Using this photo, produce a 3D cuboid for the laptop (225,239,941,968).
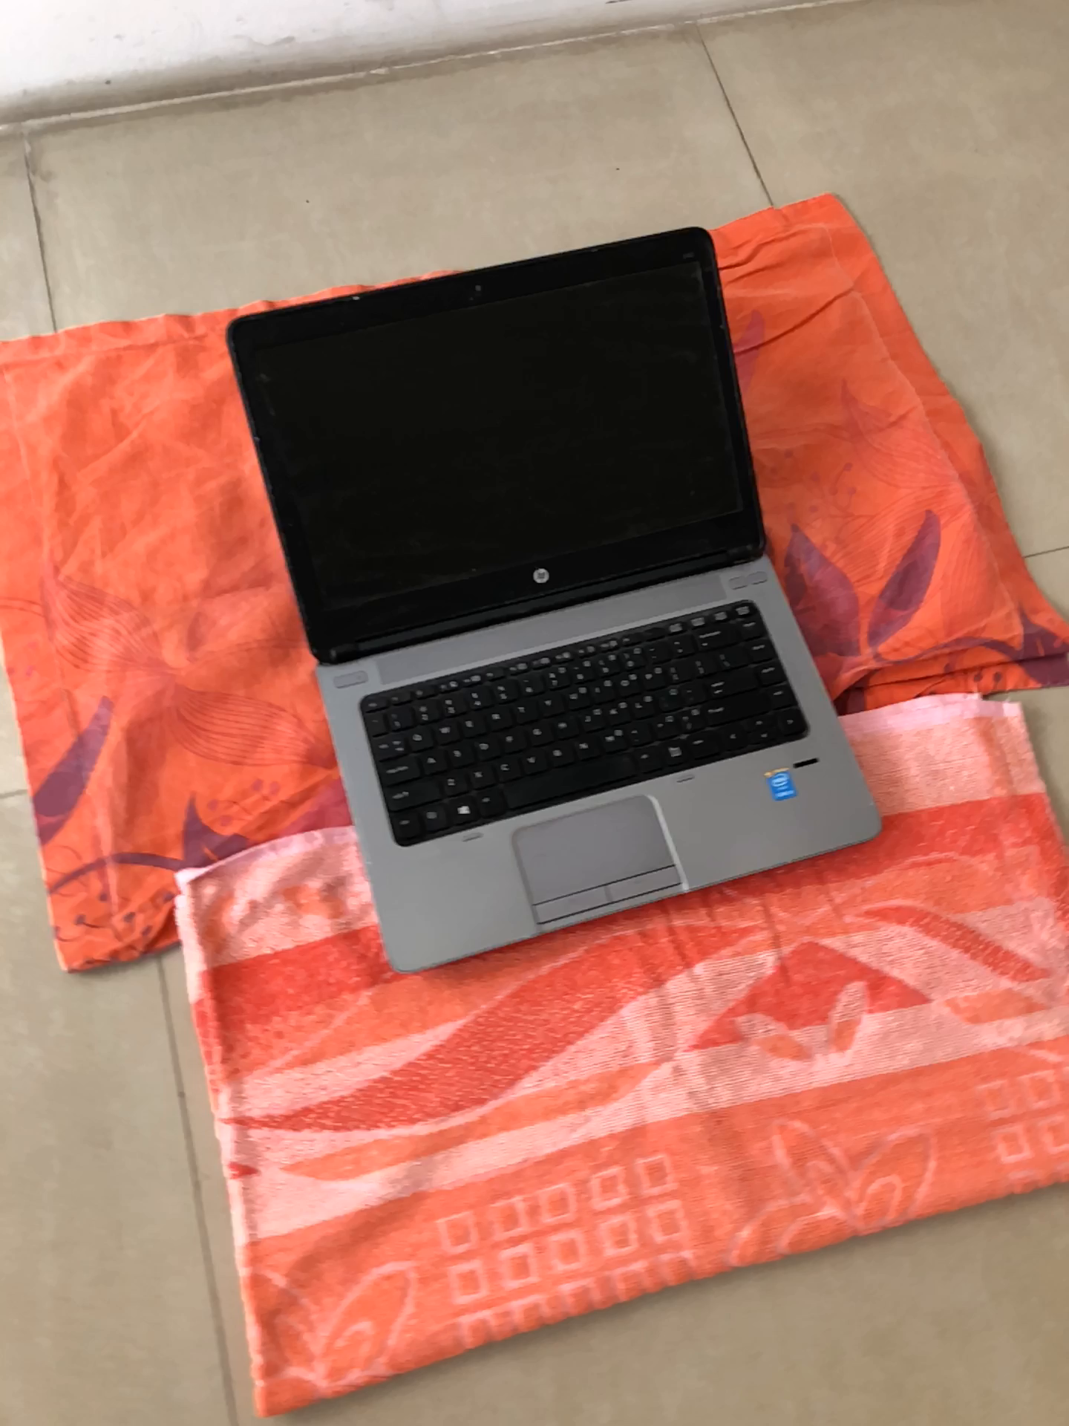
[{"bbox_3d":[0.013,-0.086,0.766,0.328,0.111,0.411,-14,69,-9],"label":"laptop"}]
